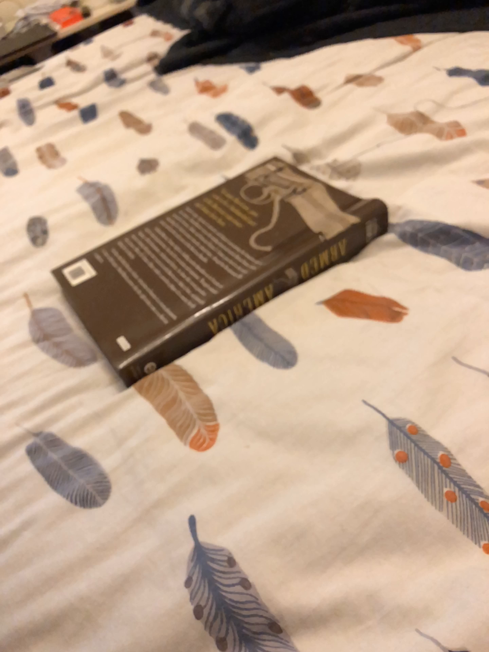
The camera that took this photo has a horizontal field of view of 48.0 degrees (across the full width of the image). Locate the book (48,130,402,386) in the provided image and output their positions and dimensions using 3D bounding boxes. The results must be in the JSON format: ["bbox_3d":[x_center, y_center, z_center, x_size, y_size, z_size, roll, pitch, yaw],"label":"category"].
[{"bbox_3d":[-0.025,-0.076,0.456,0.240,0.030,0.181,-32,43,-14],"label":"book"}]
